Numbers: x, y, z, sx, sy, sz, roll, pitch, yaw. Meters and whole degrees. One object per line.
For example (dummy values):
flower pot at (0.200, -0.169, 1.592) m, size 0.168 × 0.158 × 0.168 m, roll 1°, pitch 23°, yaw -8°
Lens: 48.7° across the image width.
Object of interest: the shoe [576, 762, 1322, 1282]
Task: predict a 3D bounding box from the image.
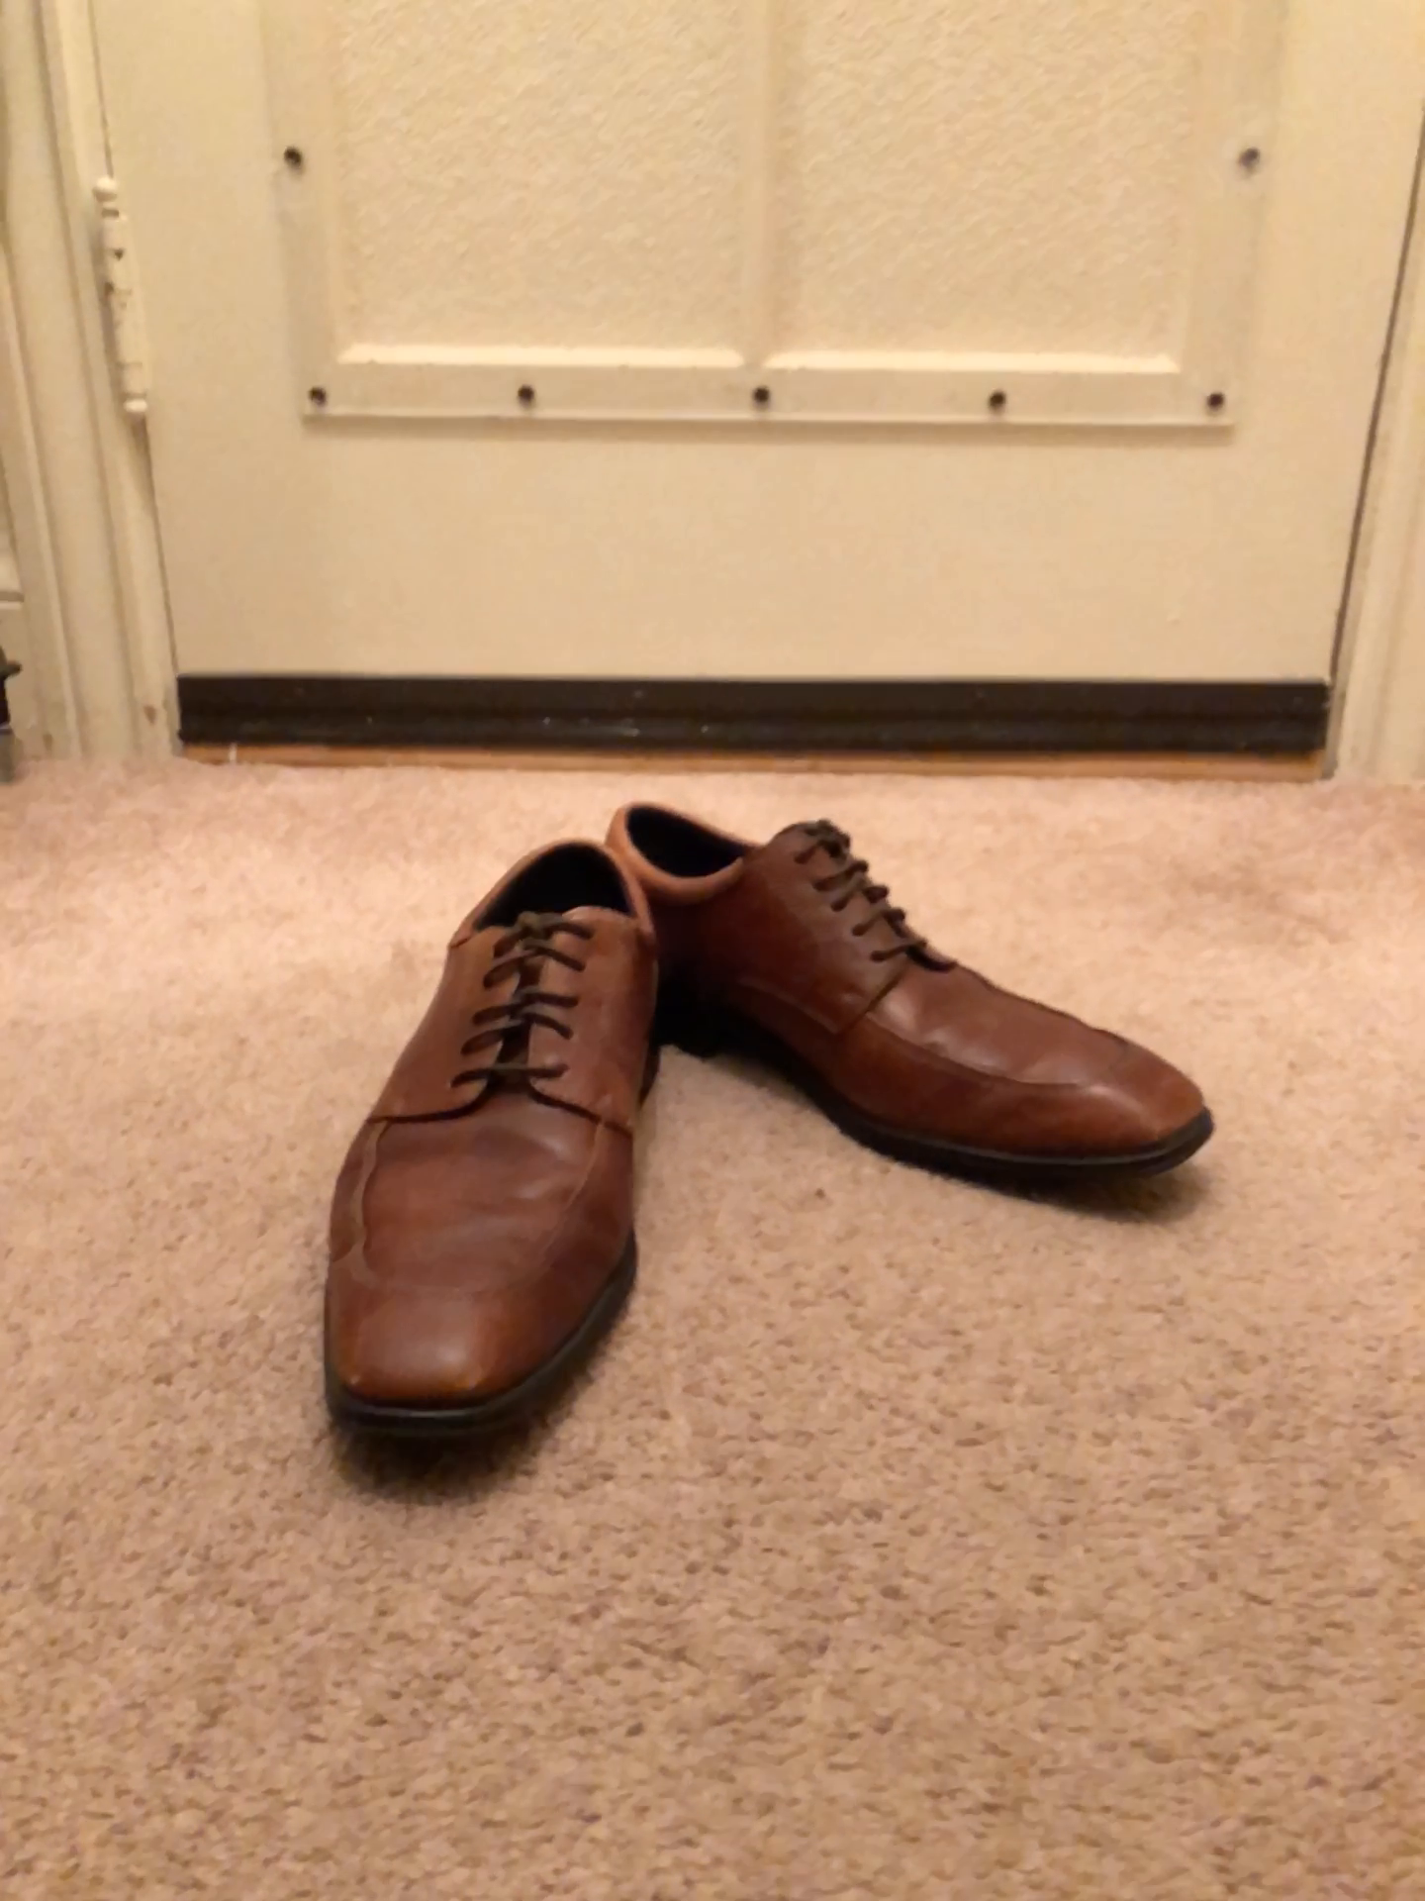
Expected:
shoe at (0.084, 0.013, 0.672) m, size 0.300 × 0.109 × 0.100 m, roll 20°, pitch 30°, yaw 37°

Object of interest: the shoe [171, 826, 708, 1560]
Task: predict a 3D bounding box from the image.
shoe at (-0.075, 0.062, 0.583) m, size 0.120 × 0.119 × 0.302 m, roll 2°, pitch 24°, yaw 4°
